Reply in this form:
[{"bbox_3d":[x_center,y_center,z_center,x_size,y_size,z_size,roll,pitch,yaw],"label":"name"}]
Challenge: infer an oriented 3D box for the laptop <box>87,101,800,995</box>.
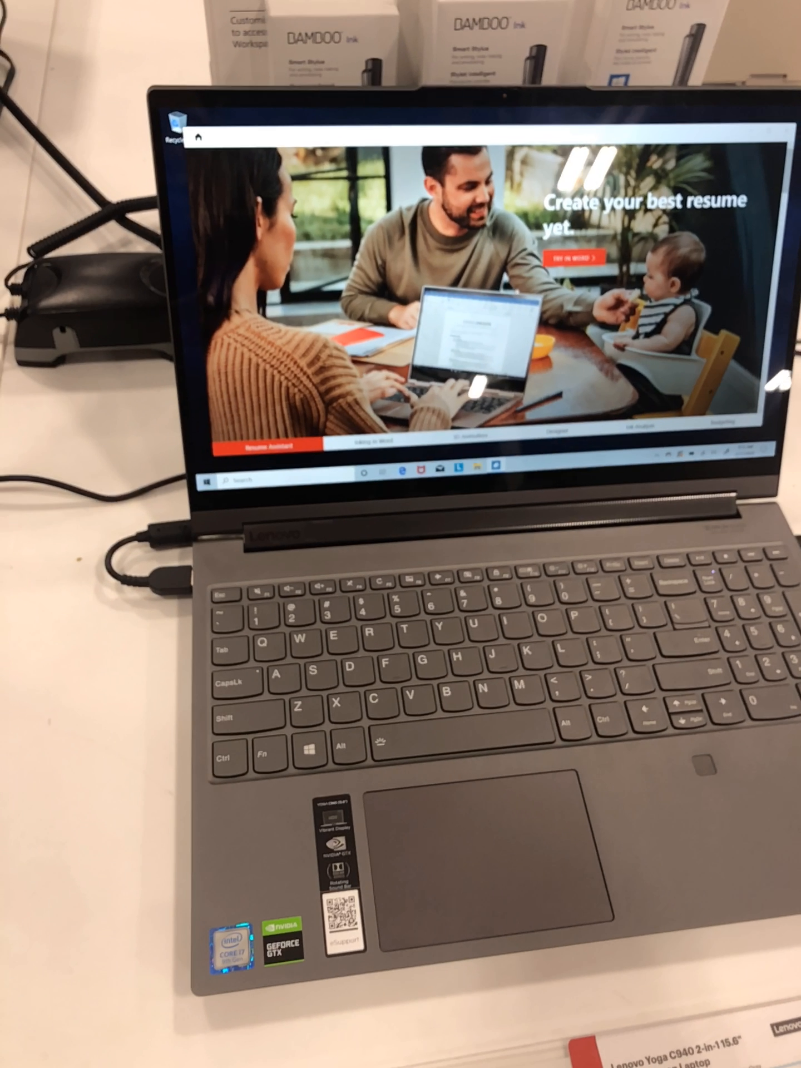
[{"bbox_3d":[0.065,-0.023,0.429,0.346,0.189,0.368,-4,53,-8],"label":"laptop"}]
